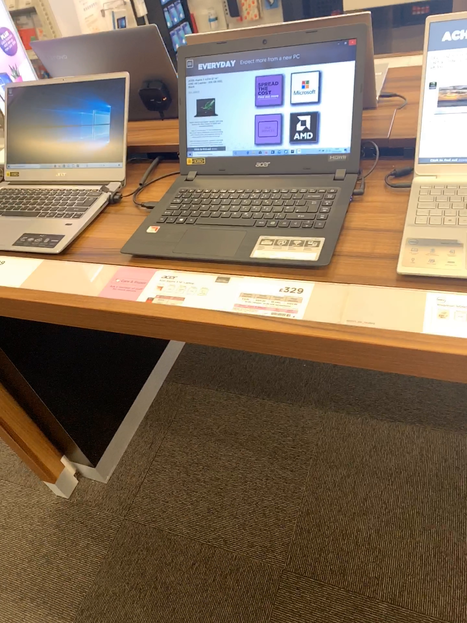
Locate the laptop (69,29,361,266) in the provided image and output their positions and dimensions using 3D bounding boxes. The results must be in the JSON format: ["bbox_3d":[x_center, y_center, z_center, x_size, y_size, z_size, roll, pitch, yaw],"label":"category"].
[{"bbox_3d":[0.008,-0.267,0.752,0.325,0.193,0.357,6,45,22],"label":"laptop"}]
